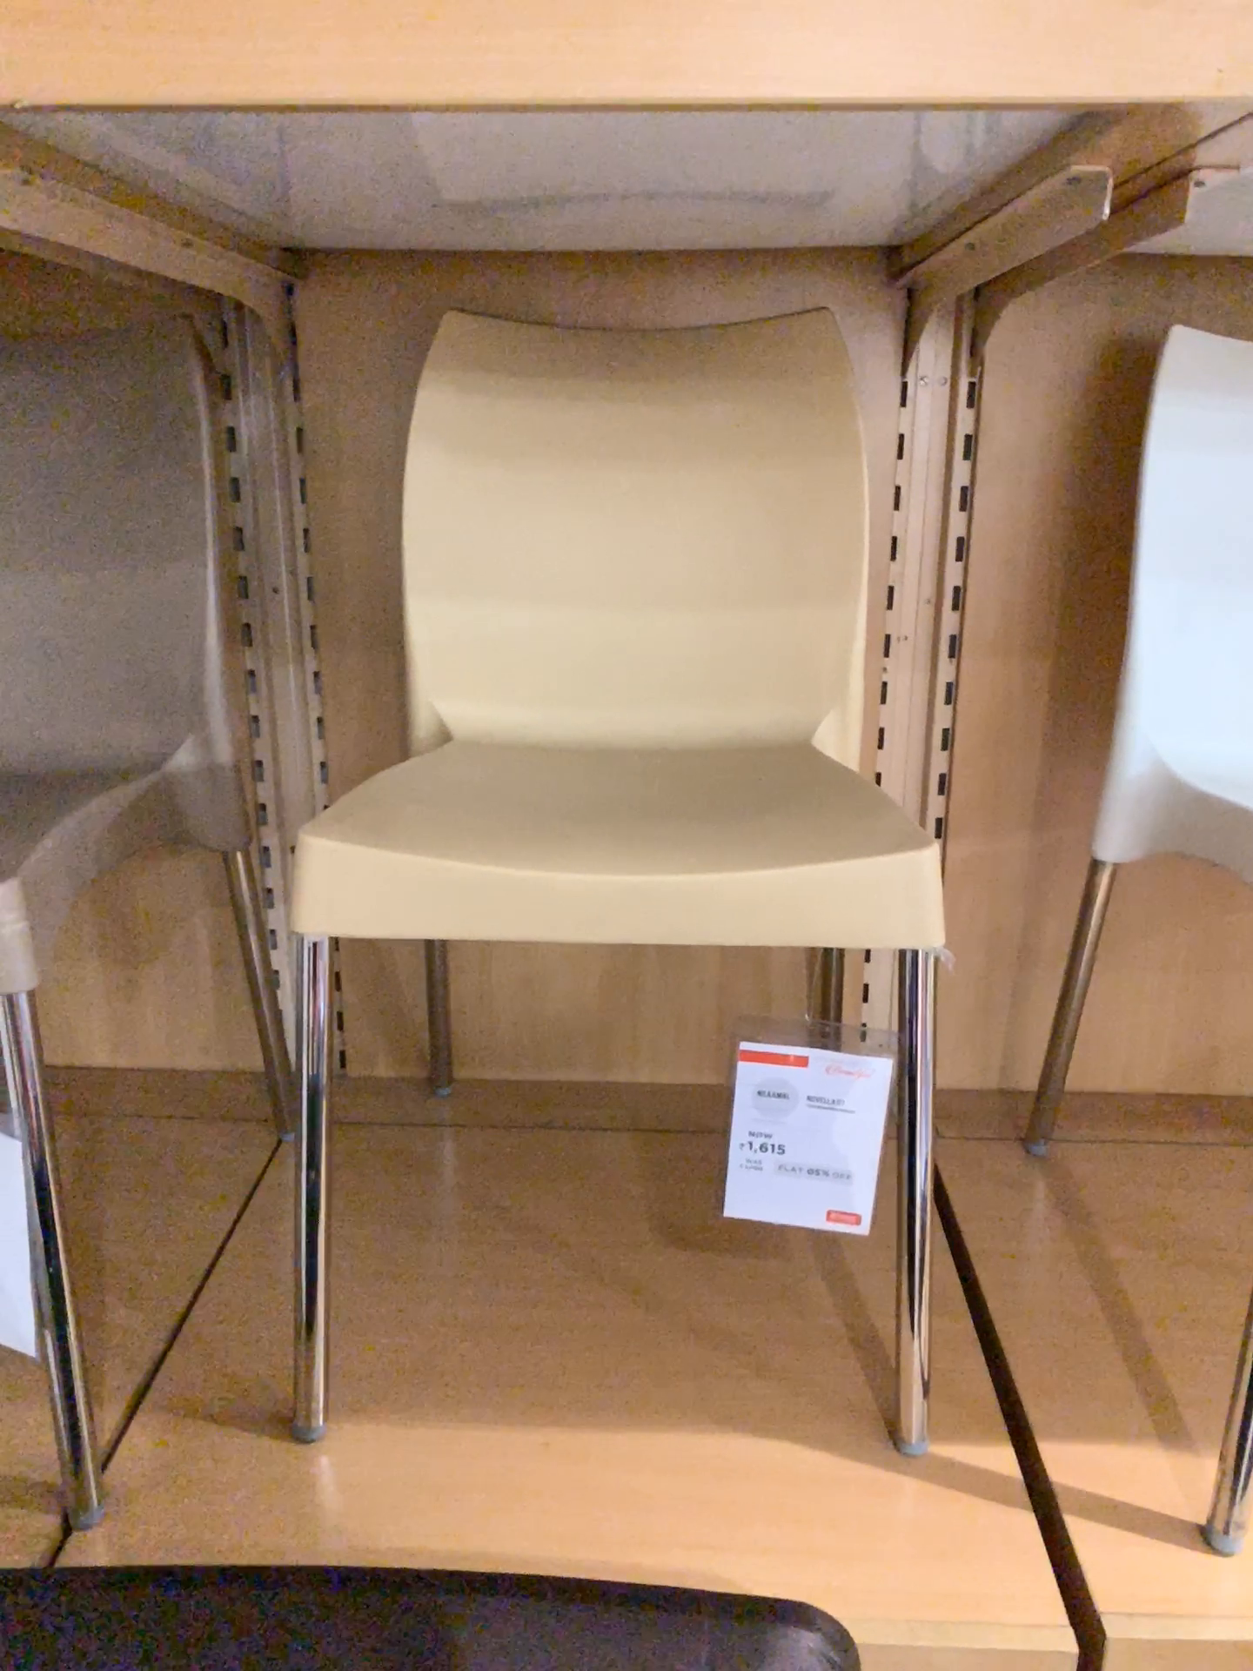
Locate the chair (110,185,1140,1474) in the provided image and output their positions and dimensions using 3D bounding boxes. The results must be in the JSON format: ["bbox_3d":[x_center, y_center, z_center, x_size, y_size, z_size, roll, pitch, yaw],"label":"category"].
[{"bbox_3d":[-0.017,-0.033,1.072,0.540,0.807,0.592,2,17,-1],"label":"chair"}]
